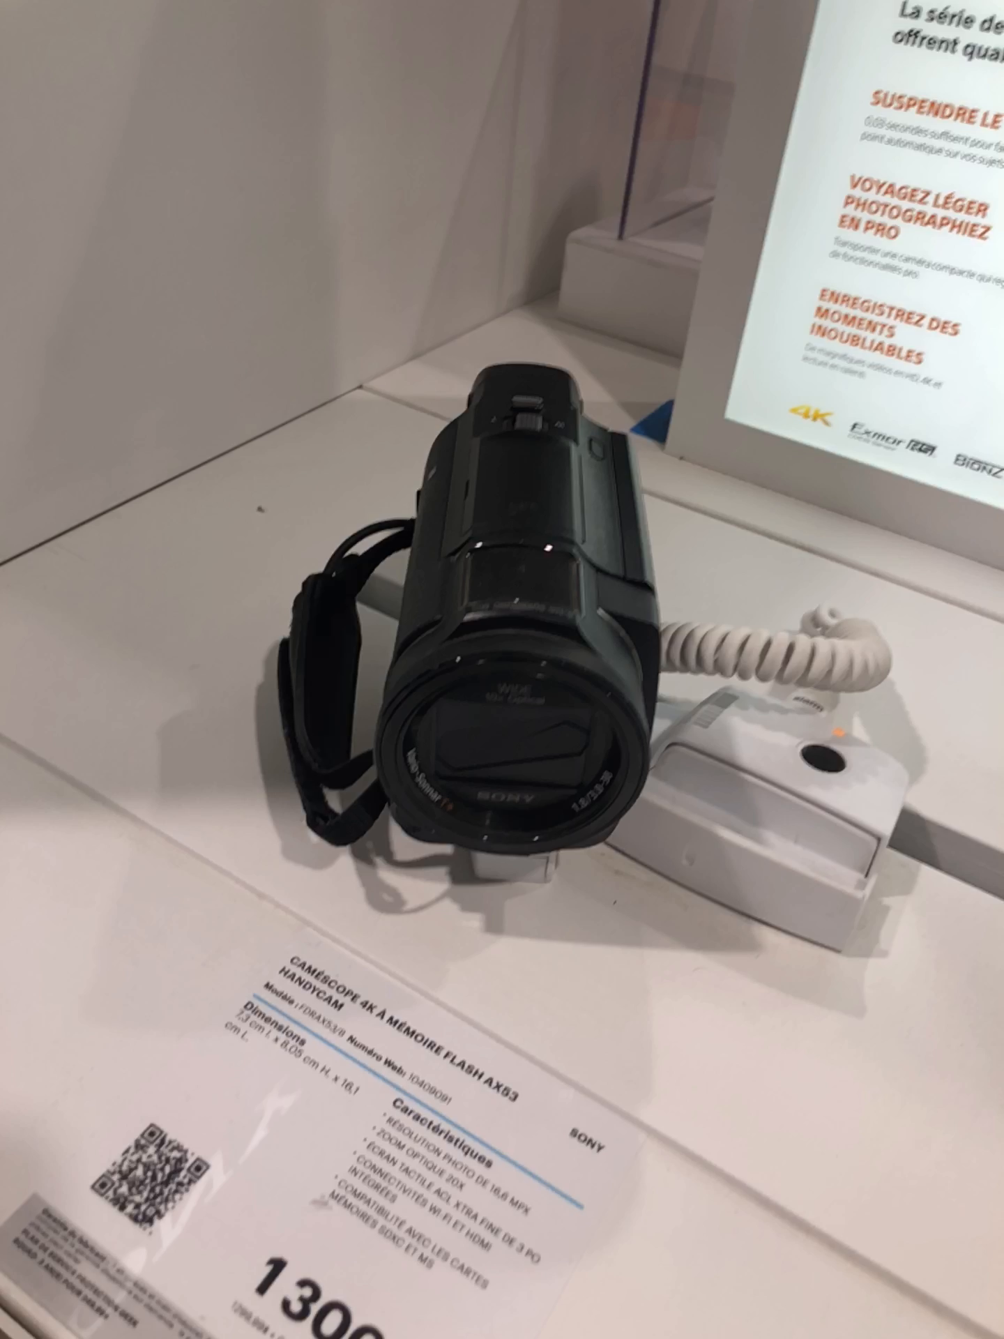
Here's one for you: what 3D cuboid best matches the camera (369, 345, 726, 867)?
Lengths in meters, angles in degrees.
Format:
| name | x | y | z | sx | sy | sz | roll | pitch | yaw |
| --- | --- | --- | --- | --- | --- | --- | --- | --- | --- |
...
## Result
| name | x | y | z | sx | sy | sz | roll | pitch | yaw |
| --- | --- | --- | --- | --- | --- | --- | --- | --- | --- |
| camera | 0.007 | -0.027 | 0.311 | 0.073 | 0.070 | 0.149 | 4 | 36 | -3 |
